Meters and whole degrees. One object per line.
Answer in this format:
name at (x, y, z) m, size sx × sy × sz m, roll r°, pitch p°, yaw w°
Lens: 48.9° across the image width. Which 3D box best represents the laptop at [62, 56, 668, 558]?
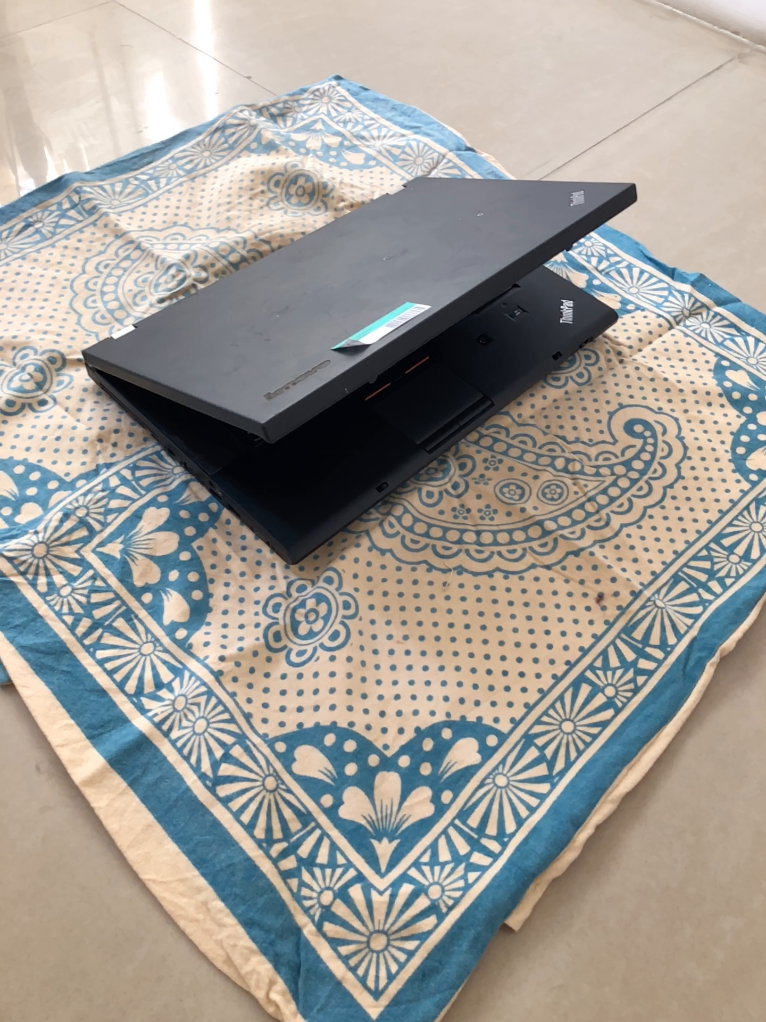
laptop at (-0.013, -0.175, 0.637) m, size 0.349 × 0.124 × 0.240 m, roll -37°, pitch 62°, yaw -22°
